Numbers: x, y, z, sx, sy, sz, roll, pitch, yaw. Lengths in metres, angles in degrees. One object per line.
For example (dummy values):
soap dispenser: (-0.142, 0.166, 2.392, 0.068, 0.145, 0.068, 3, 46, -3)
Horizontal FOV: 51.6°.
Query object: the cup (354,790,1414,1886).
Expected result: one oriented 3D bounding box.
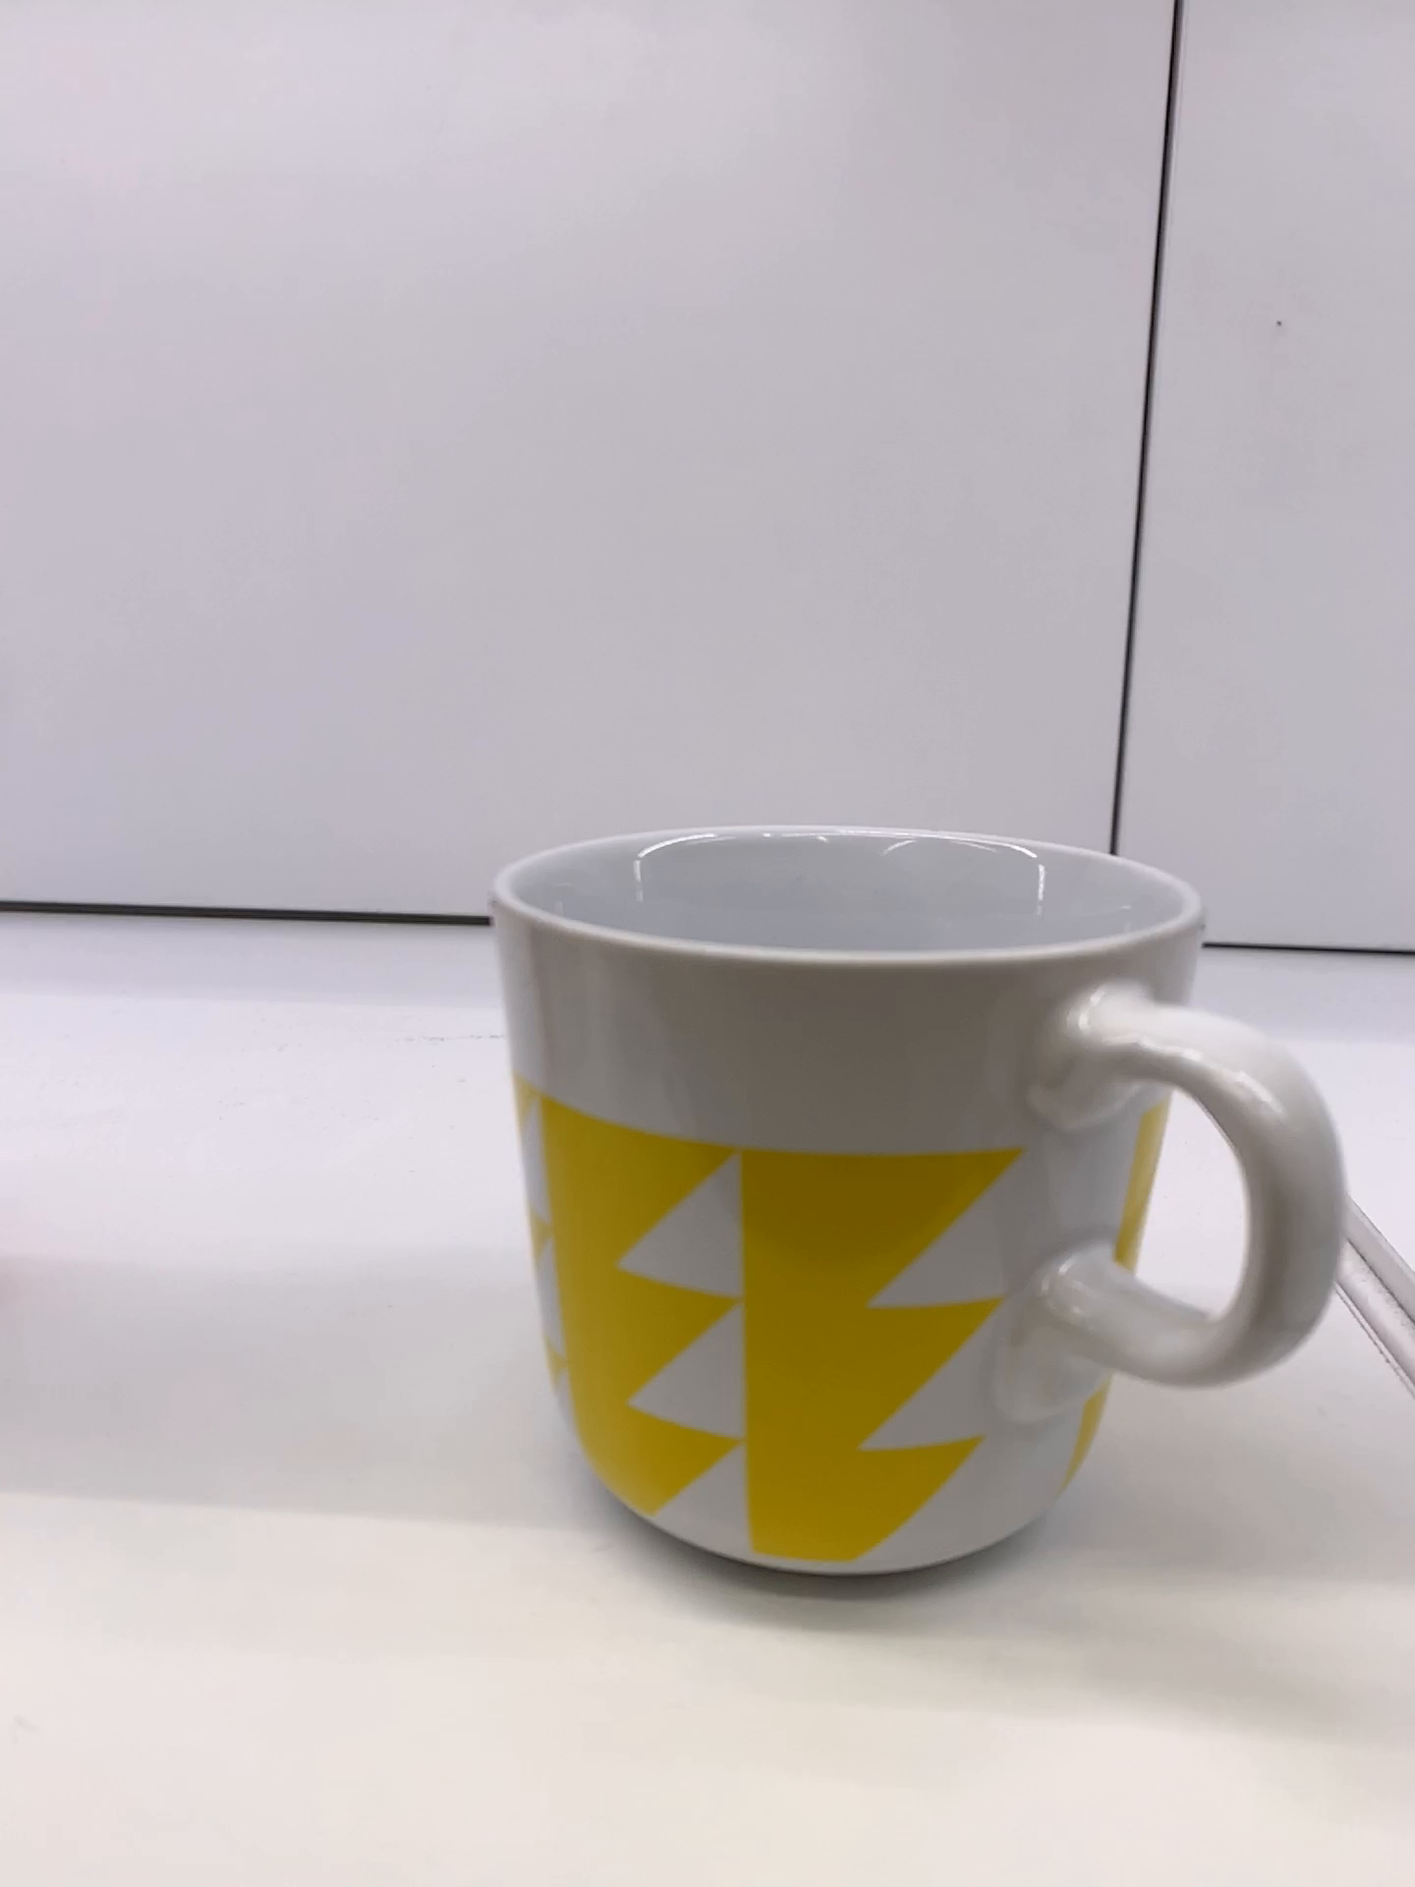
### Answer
cup: (0.022, 0.023, 0.167, 0.084, 0.065, 0.107, -8, 15, -36)
